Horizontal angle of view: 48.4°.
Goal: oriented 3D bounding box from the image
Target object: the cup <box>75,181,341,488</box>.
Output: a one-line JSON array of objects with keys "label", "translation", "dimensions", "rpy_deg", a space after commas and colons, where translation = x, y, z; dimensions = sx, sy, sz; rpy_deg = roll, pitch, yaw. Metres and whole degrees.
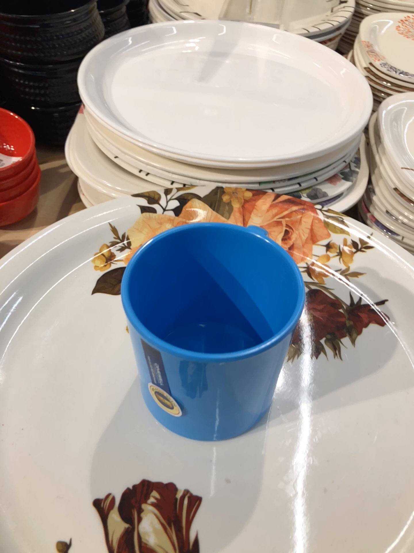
[{"label": "cup", "translation": [0.005, 0.027, 0.246], "dimensions": [0.080, 0.089, 0.111], "rpy_deg": [23, 52, 17]}]
